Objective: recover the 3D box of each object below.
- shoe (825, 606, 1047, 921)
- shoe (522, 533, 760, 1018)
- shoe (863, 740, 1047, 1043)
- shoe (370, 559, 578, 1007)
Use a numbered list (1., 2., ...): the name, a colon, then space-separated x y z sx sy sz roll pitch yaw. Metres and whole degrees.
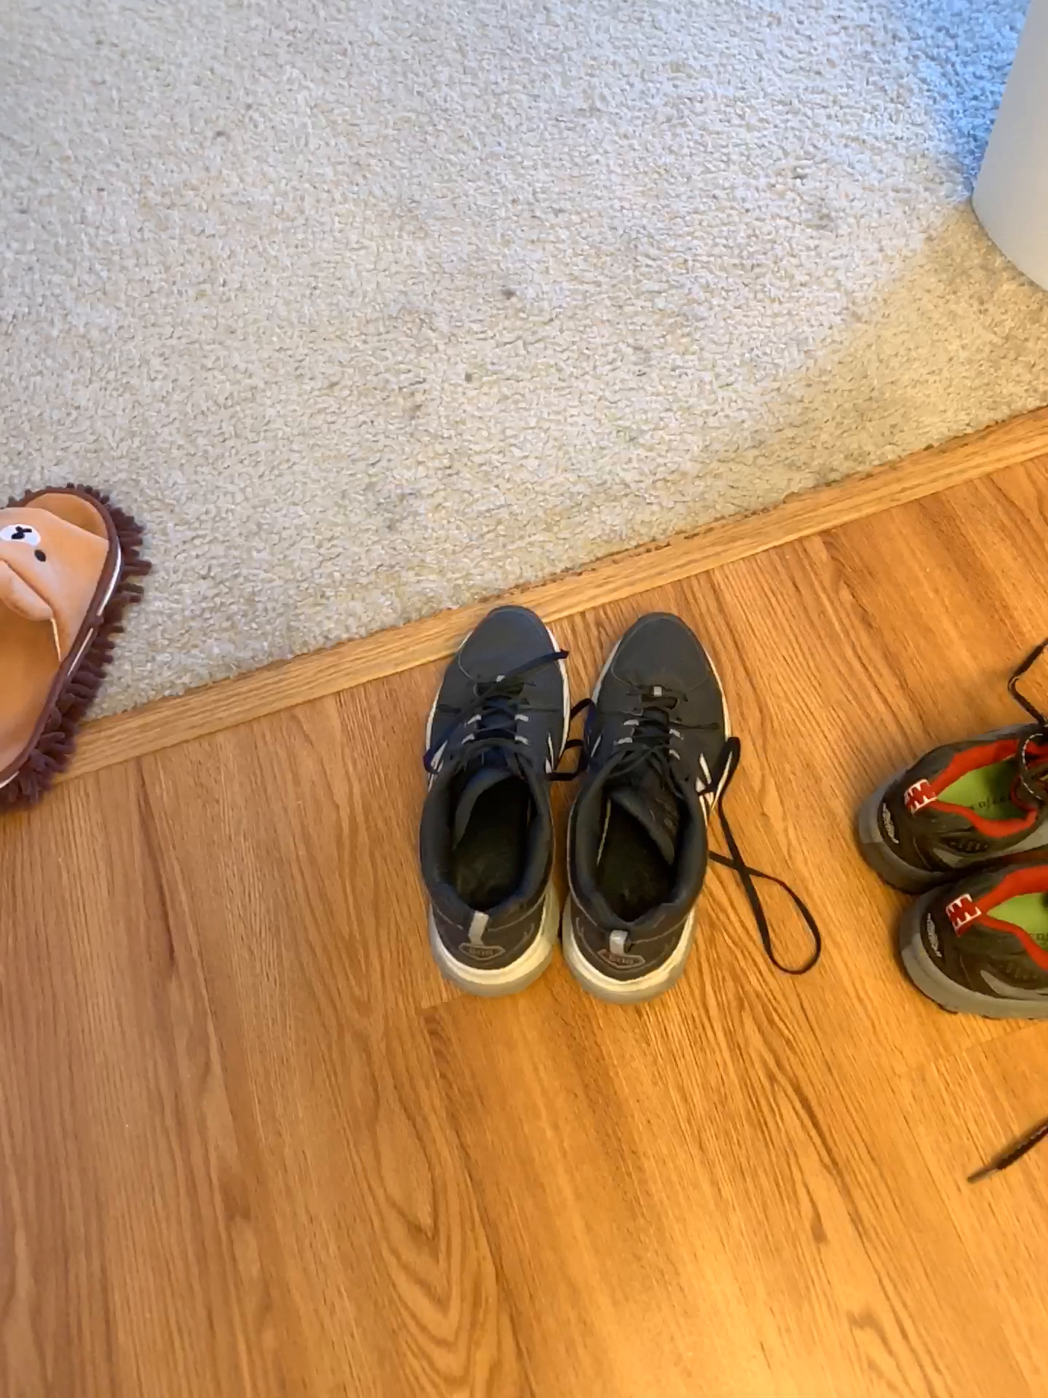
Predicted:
1. shoe: 0.394 0.053 0.757 0.300 0.170 0.120 -10 65 -1
2. shoe: 0.085 0.051 0.751 0.120 0.130 0.301 7 65 7
3. shoe: 0.428 0.139 0.732 0.320 0.180 0.140 -4 65 1
4. shoe: -0.026 0.060 0.799 0.130 0.120 0.311 0 65 3
